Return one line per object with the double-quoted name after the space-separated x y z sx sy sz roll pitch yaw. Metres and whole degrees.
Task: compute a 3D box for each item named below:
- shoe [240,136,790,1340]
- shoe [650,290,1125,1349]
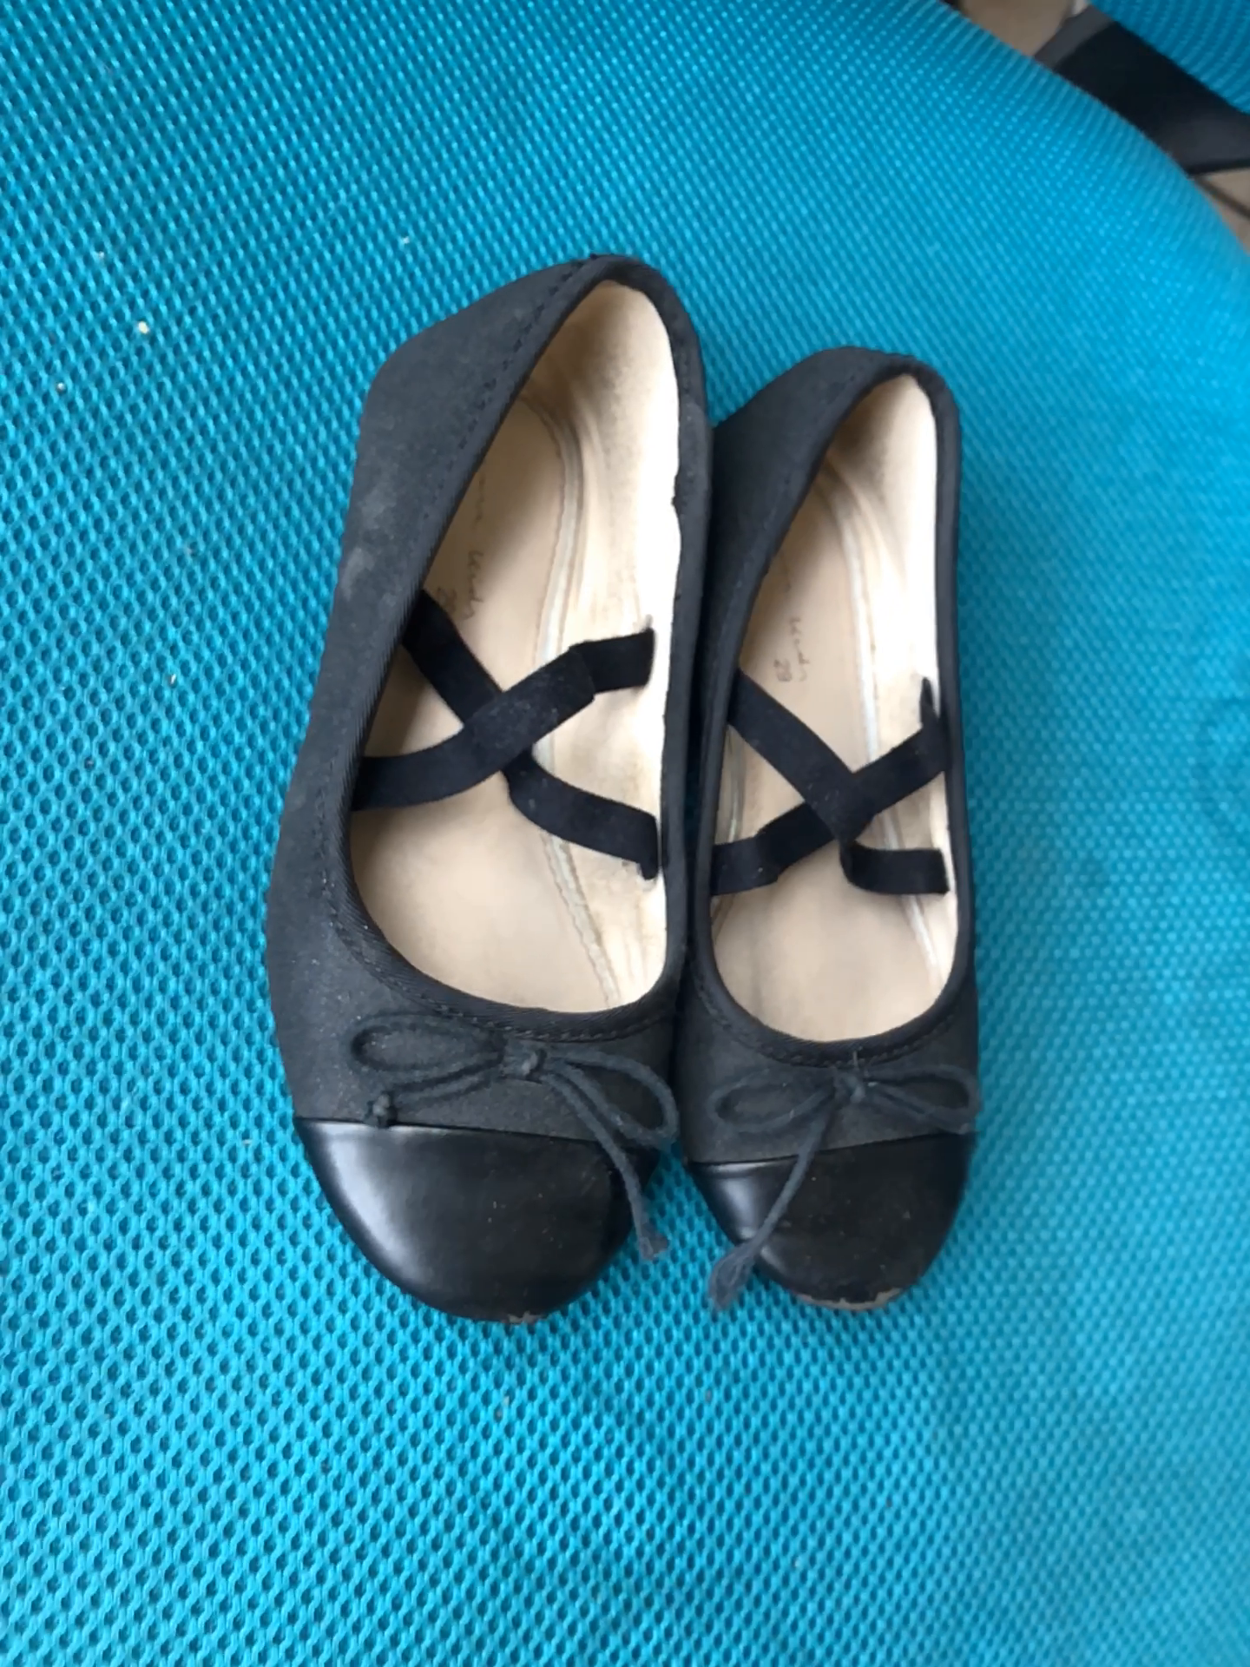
-0.019 -0.015 0.257 0.081 0.050 0.194 6 77 -26 "shoe"
0.049 -0.003 0.283 0.069 0.050 0.190 4 78 -26 "shoe"
